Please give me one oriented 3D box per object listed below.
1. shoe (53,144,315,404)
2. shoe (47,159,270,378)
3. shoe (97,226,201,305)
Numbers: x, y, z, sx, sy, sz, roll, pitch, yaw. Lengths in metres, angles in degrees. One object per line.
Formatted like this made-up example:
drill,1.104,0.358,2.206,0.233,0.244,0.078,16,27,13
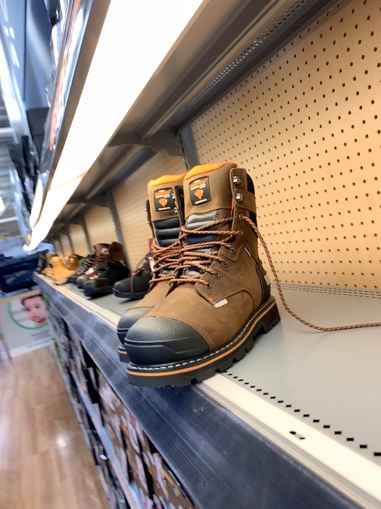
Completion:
shoe,0.018,-0.003,0.546,0.134,0.260,0.318,-10,6,42
shoe,-0.034,0.001,0.669,0.136,0.280,0.313,-10,6,44
shoe,-0.130,0.030,1.212,0.257,0.170,0.147,-16,5,-21
